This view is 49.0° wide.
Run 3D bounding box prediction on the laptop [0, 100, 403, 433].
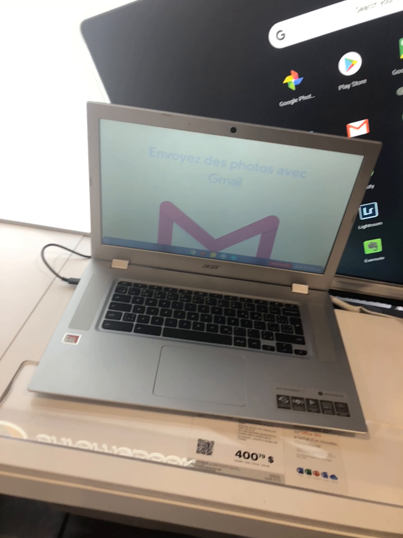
[{"bbox_3d":[0.018,-0.016,0.529,0.377,0.250,0.265,8,35,-1],"label":"laptop"}]
